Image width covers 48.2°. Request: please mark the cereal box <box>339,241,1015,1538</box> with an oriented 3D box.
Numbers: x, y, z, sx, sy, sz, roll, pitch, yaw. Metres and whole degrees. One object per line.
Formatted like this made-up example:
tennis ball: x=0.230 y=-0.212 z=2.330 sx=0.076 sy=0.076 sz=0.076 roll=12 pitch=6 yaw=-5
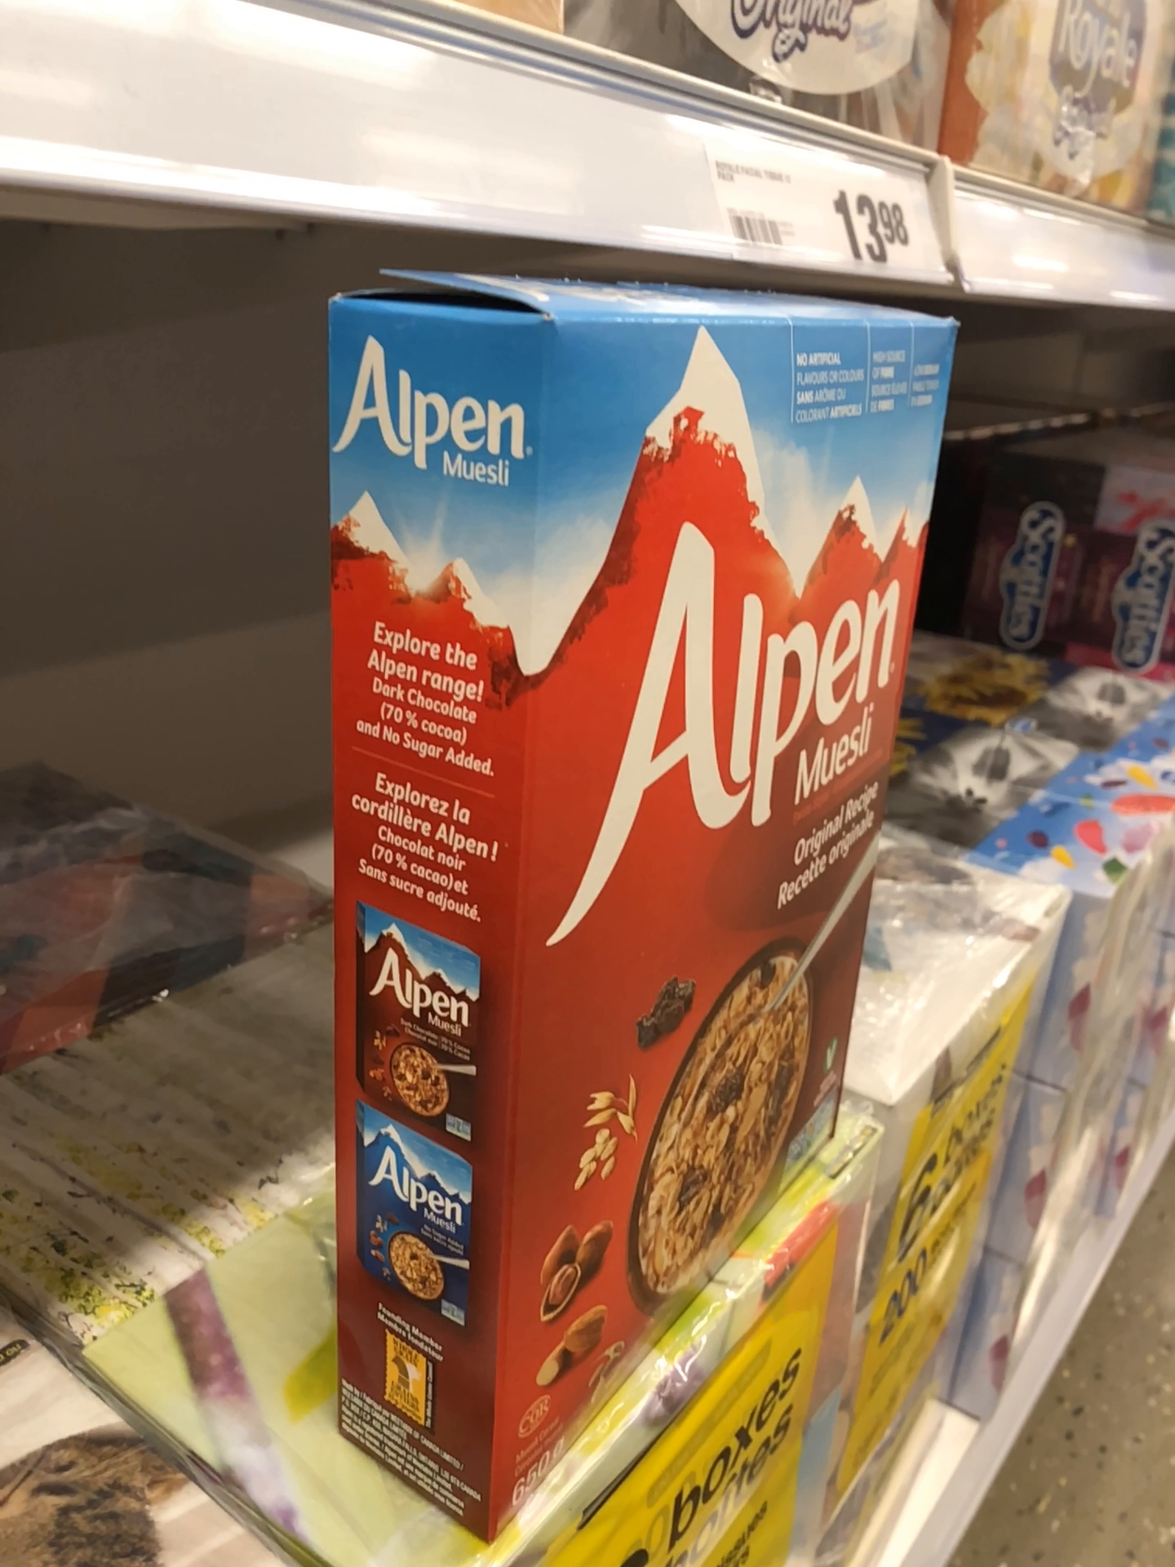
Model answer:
cereal box: x=0.025 y=0.008 z=0.297 sx=0.050 sy=0.229 sz=0.180 roll=16 pitch=24 yaw=29
